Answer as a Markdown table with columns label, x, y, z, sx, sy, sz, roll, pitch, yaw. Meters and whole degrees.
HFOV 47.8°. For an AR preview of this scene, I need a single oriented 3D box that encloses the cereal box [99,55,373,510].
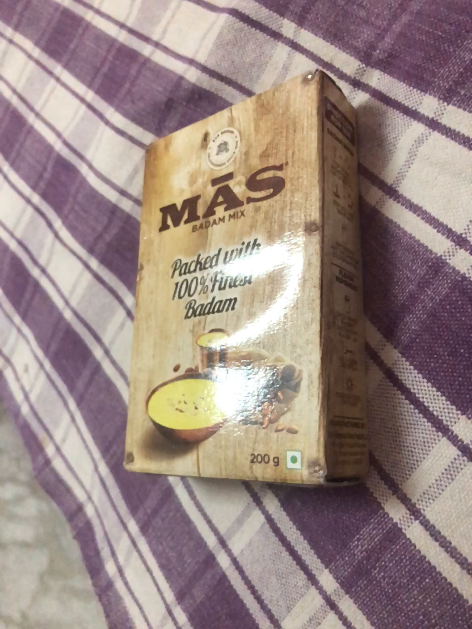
| label | x | y | z | sx | sy | sz | roll | pitch | yaw |
| --- | --- | --- | --- | --- | --- | --- | --- | --- | --- |
| cereal box | -0.003 | -0.007 | 0.186 | 0.090 | 0.030 | 0.130 | -8 | 75 | 38 |
